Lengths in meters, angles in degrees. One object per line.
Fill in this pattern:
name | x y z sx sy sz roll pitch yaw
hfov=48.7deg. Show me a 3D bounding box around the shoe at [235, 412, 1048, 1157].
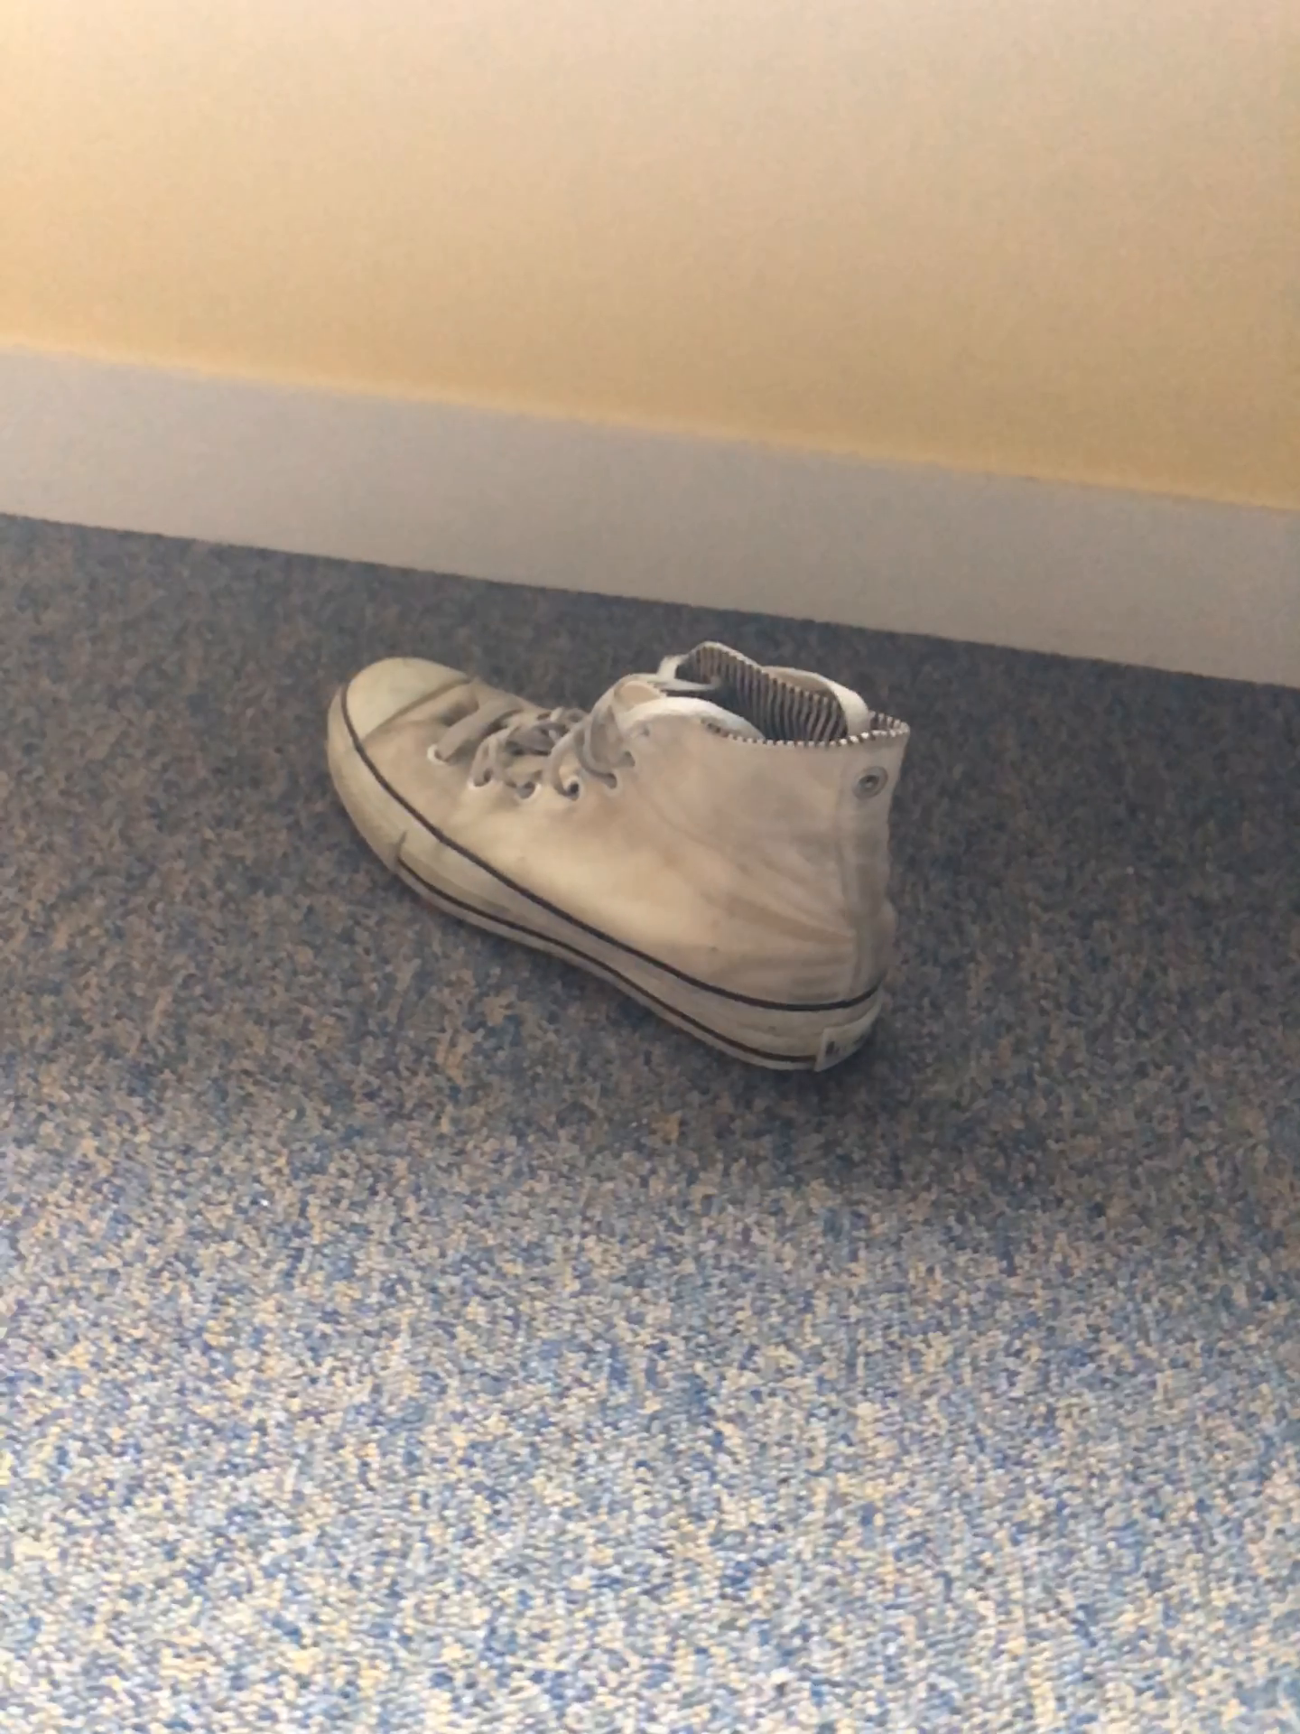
shoe | -0.014 -0.039 0.501 0.250 0.139 0.101 29 45 25
